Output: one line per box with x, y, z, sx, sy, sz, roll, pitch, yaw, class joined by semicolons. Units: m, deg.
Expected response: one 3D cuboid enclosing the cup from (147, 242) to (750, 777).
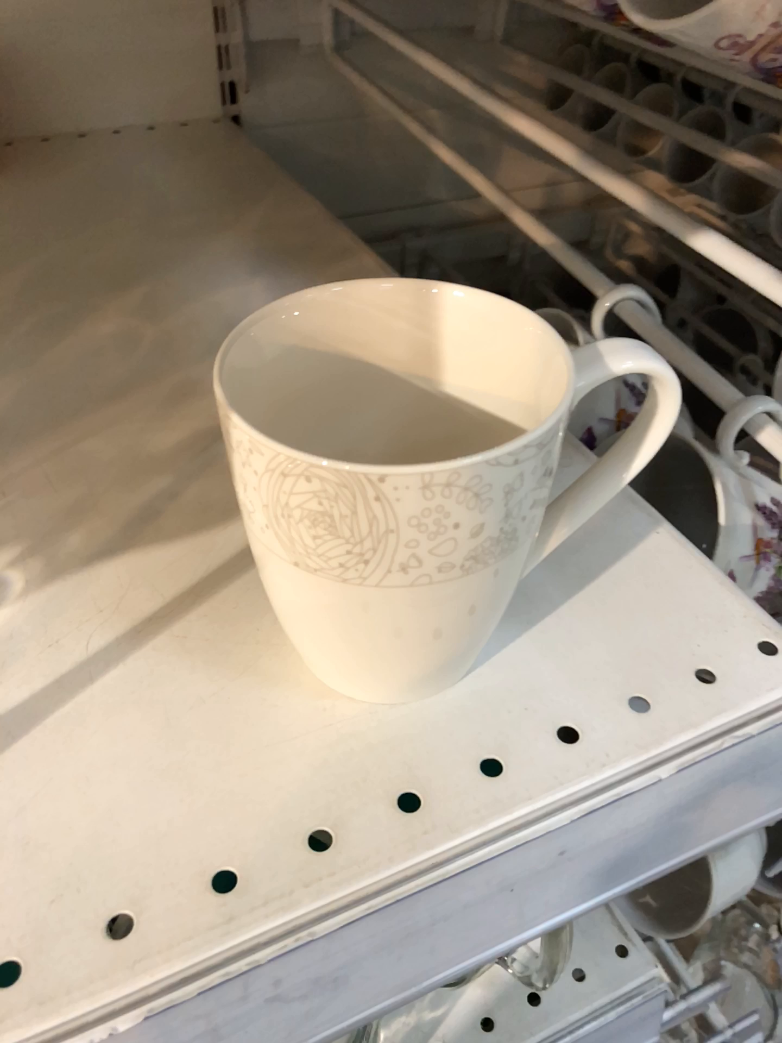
0.009;-0.010;0.248;0.126;0.091;0.090;-14;44;-18;cup
